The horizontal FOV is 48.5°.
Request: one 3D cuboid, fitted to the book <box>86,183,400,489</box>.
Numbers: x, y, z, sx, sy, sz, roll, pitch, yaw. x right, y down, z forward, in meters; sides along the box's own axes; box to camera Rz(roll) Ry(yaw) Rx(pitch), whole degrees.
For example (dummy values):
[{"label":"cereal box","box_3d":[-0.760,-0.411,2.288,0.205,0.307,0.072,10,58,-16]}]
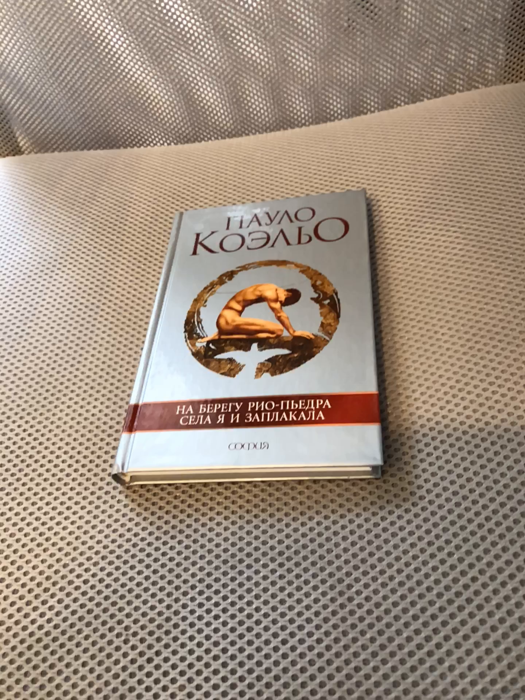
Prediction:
[{"label":"book","box_3d":[-0.003,-0.016,0.297,0.131,0.020,0.174,-3,52,10]}]
